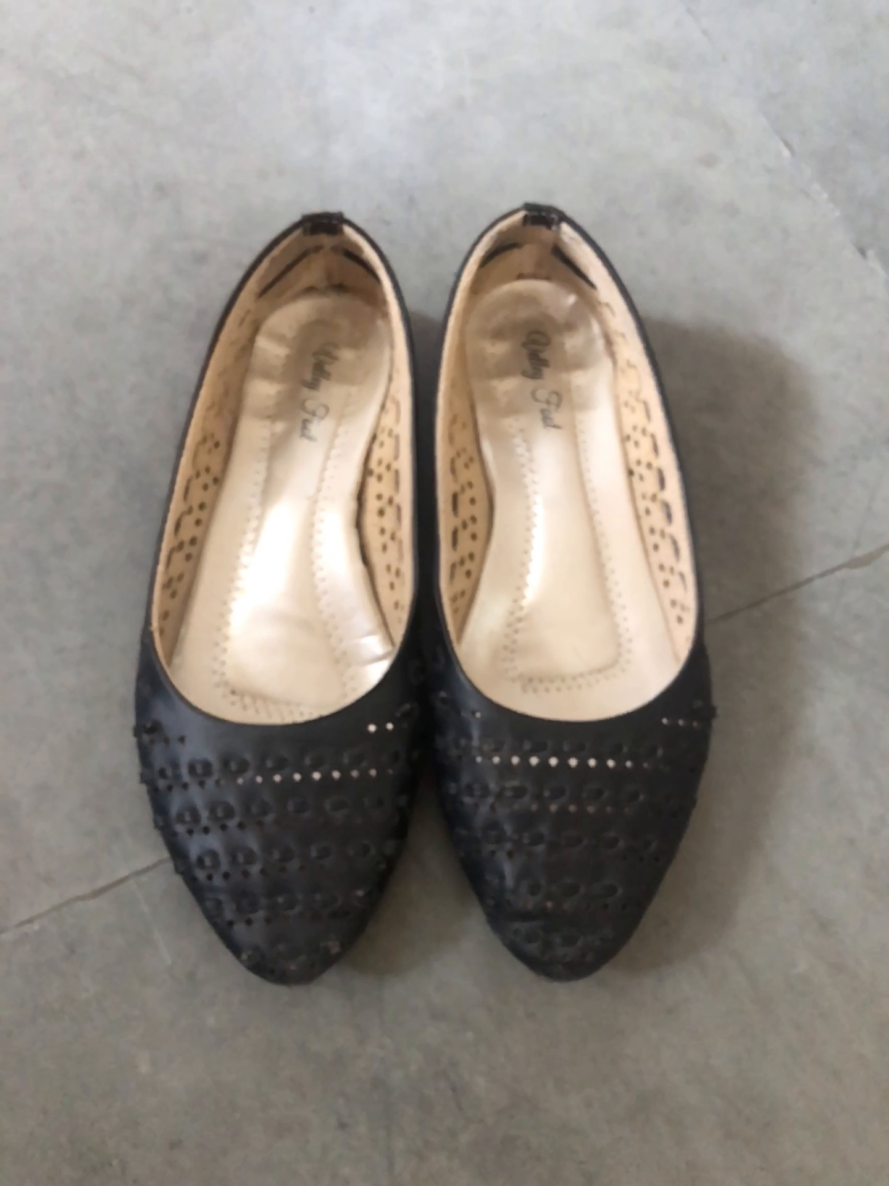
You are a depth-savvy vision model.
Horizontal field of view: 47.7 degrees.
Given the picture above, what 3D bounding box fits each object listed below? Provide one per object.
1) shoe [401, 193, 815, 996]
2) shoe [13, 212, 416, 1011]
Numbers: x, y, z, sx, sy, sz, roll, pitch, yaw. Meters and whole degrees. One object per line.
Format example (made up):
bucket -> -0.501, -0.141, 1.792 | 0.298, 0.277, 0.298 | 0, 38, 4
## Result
shoe -> 0.039, -0.004, 0.326 | 0.095, 0.073, 0.242 | -3, 71, -1
shoe -> -0.059, 0.000, 0.319 | 0.095, 0.062, 0.242 | 0, 71, 0
